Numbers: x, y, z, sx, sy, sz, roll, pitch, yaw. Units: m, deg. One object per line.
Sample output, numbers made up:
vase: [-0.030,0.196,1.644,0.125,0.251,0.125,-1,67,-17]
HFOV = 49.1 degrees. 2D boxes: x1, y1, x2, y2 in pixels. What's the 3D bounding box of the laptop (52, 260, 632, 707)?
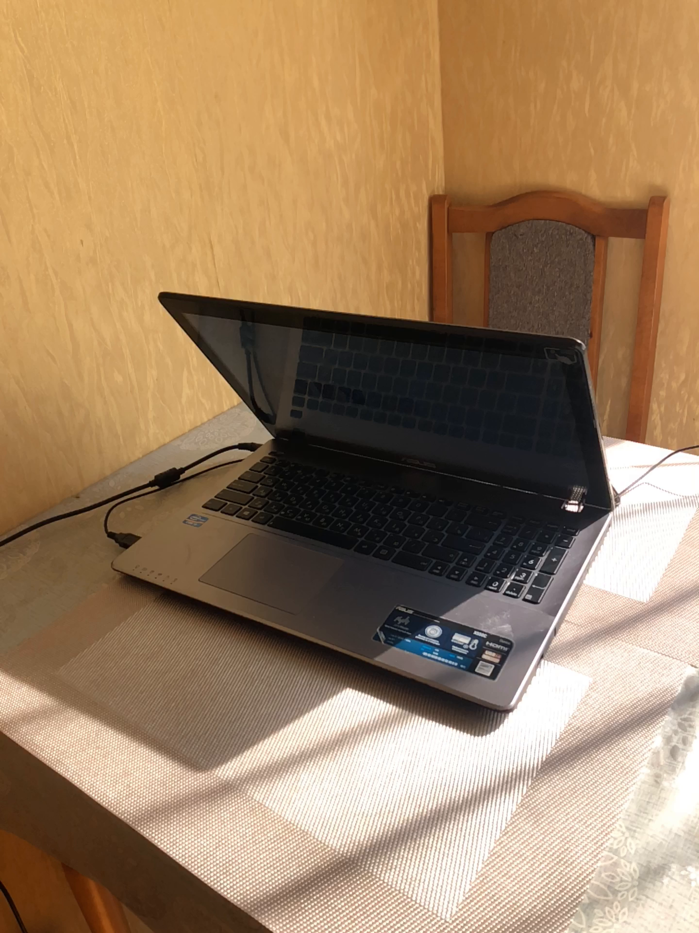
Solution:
laptop: [0.002,-0.022,0.624,0.364,0.197,0.241,12,35,29]
